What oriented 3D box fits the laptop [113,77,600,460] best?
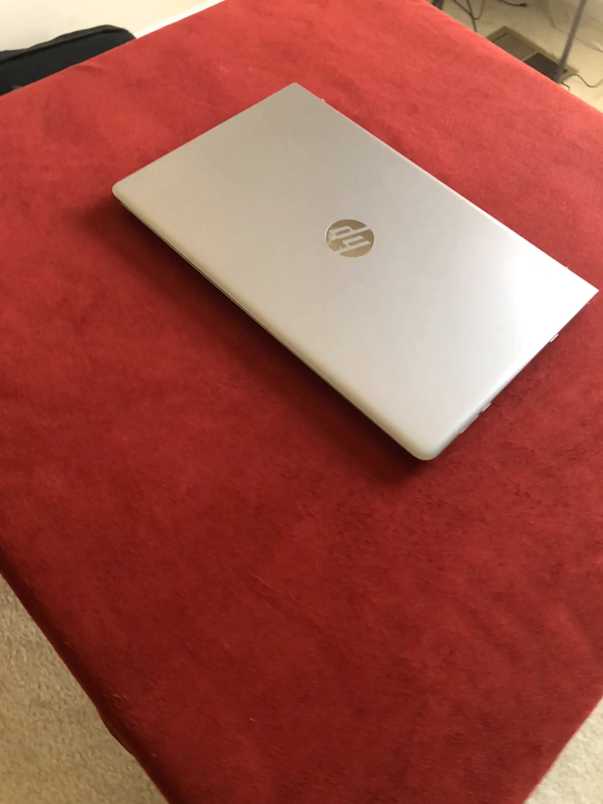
[{"bbox_3d":[0.045,-0.146,0.594,0.372,0.006,0.234,42,66,17],"label":"laptop"}]
